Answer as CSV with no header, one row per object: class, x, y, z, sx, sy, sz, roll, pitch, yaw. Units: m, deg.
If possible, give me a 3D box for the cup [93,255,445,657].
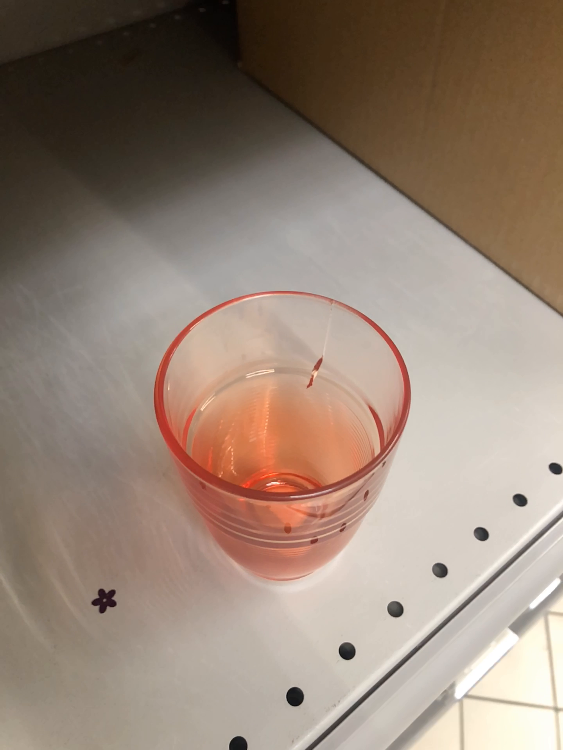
cup,-0.001,0.031,0.224,0.074,0.100,0.080,0,52,-1
